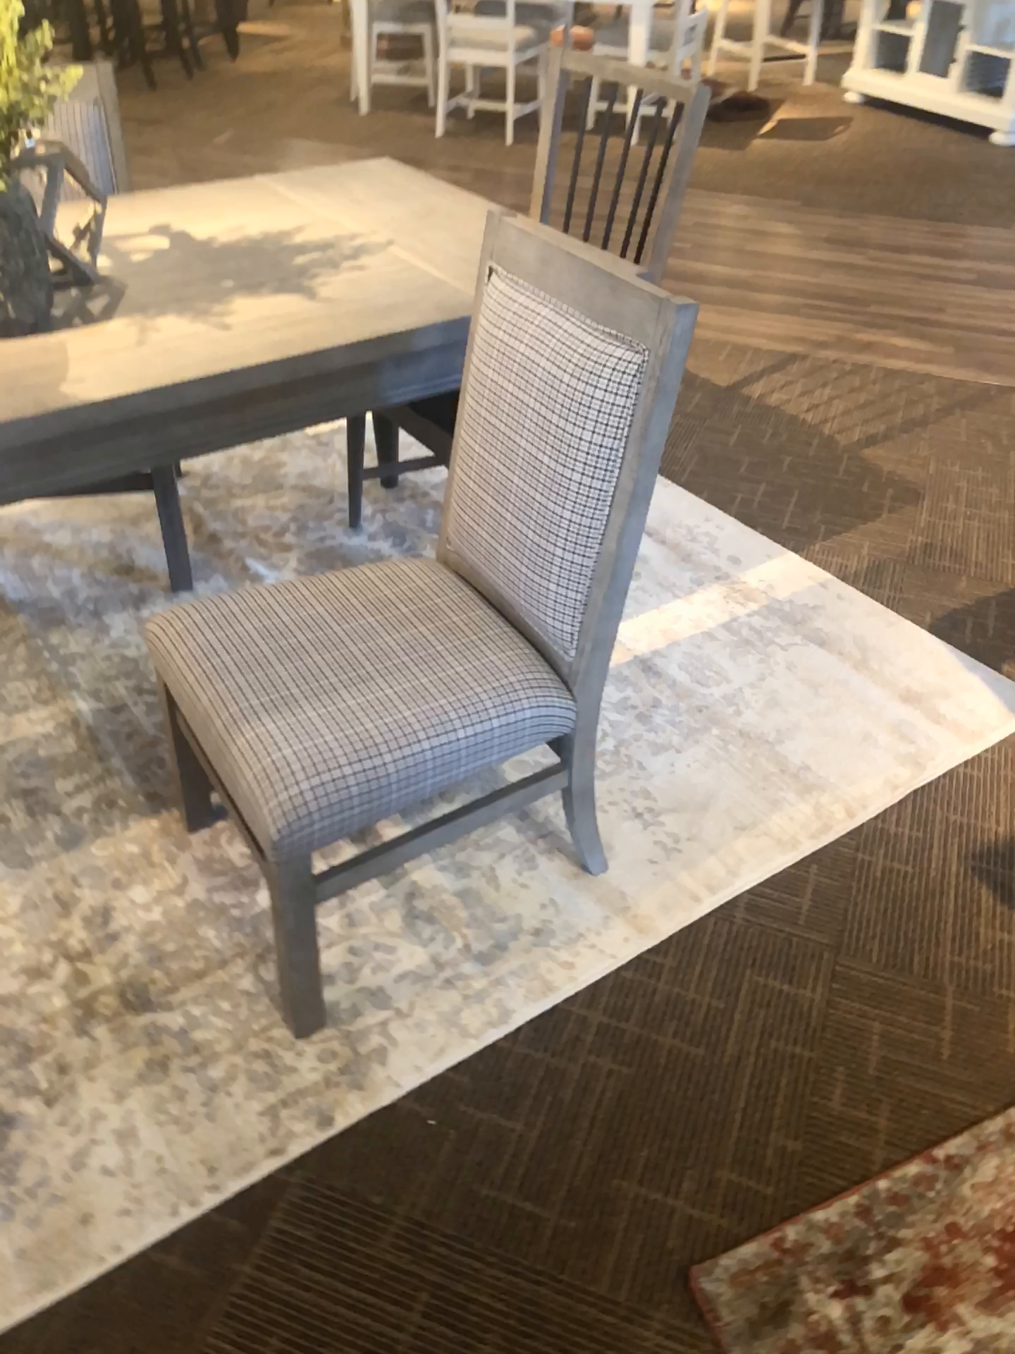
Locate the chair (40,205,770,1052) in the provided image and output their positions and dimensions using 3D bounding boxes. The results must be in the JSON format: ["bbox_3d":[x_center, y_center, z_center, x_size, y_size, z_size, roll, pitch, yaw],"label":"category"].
[{"bbox_3d":[-0.136,-0.084,1.512,0.661,0.866,0.512,-19,42,-25],"label":"chair"}]
